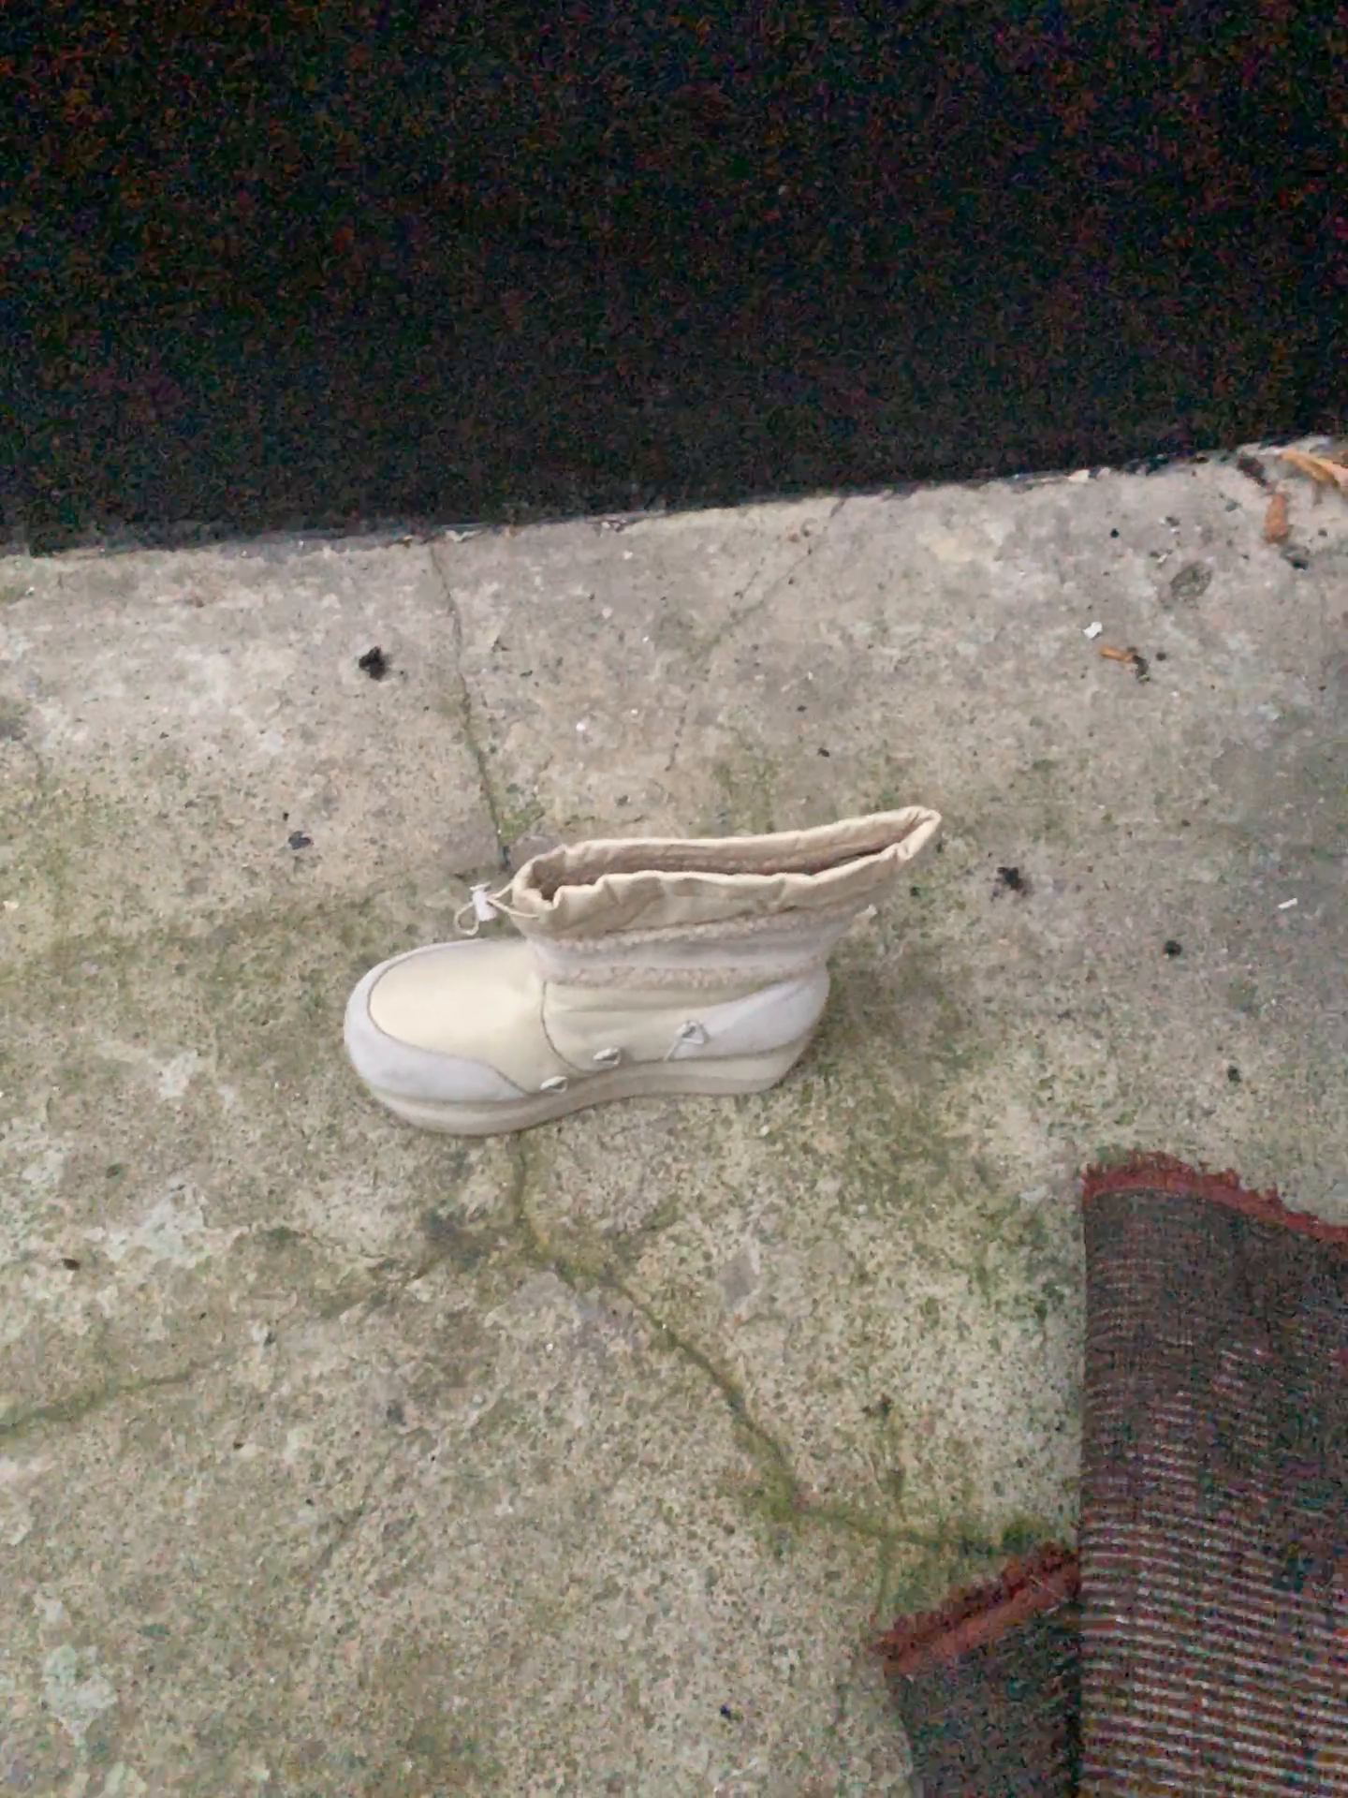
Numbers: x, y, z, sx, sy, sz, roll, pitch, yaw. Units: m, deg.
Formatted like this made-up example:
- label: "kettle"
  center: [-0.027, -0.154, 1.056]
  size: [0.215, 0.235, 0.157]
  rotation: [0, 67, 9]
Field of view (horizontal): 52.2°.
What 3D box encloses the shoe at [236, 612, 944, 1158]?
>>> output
- label: "shoe"
  center: [-0.044, 0.011, 0.679]
  size: [0.270, 0.298, 0.111]
  rotation: [-6, 62, -7]
